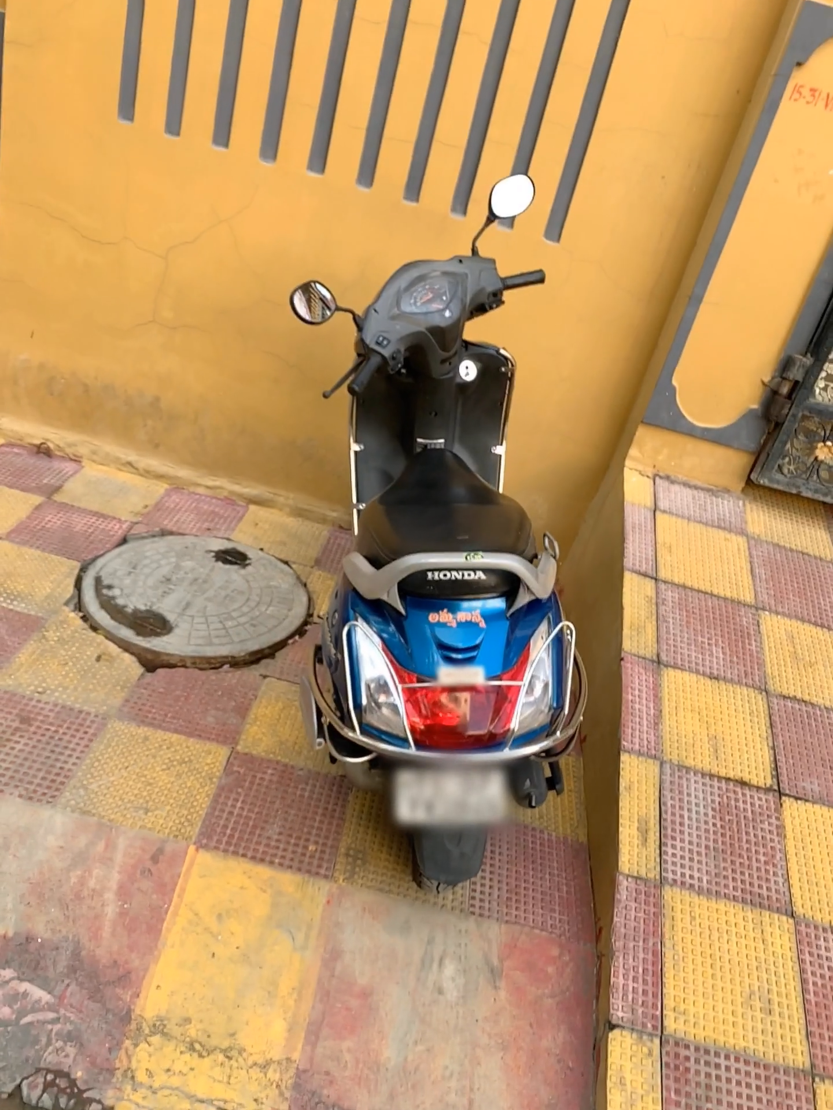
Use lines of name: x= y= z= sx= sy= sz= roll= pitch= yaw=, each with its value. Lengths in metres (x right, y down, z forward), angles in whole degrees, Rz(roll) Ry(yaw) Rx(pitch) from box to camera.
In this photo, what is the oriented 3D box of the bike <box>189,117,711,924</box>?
bike: x=-0.088 y=-0.246 z=2.045 sx=0.596 sy=1.097 sz=1.534 roll=10 pitch=31 yaw=-13
